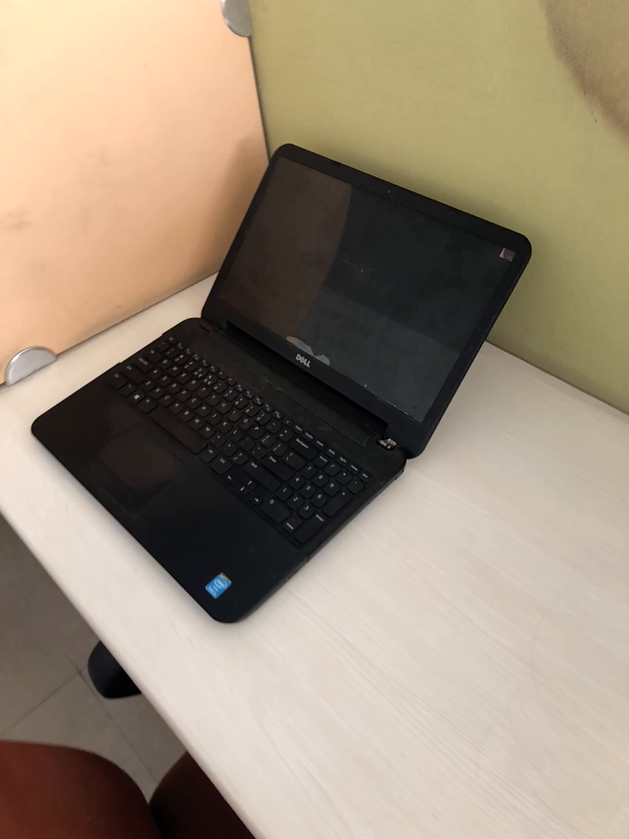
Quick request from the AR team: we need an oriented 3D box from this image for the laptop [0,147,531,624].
[{"bbox_3d":[-0.057,-0.080,0.737,0.425,0.165,0.357,-38,54,-25],"label":"laptop"}]
